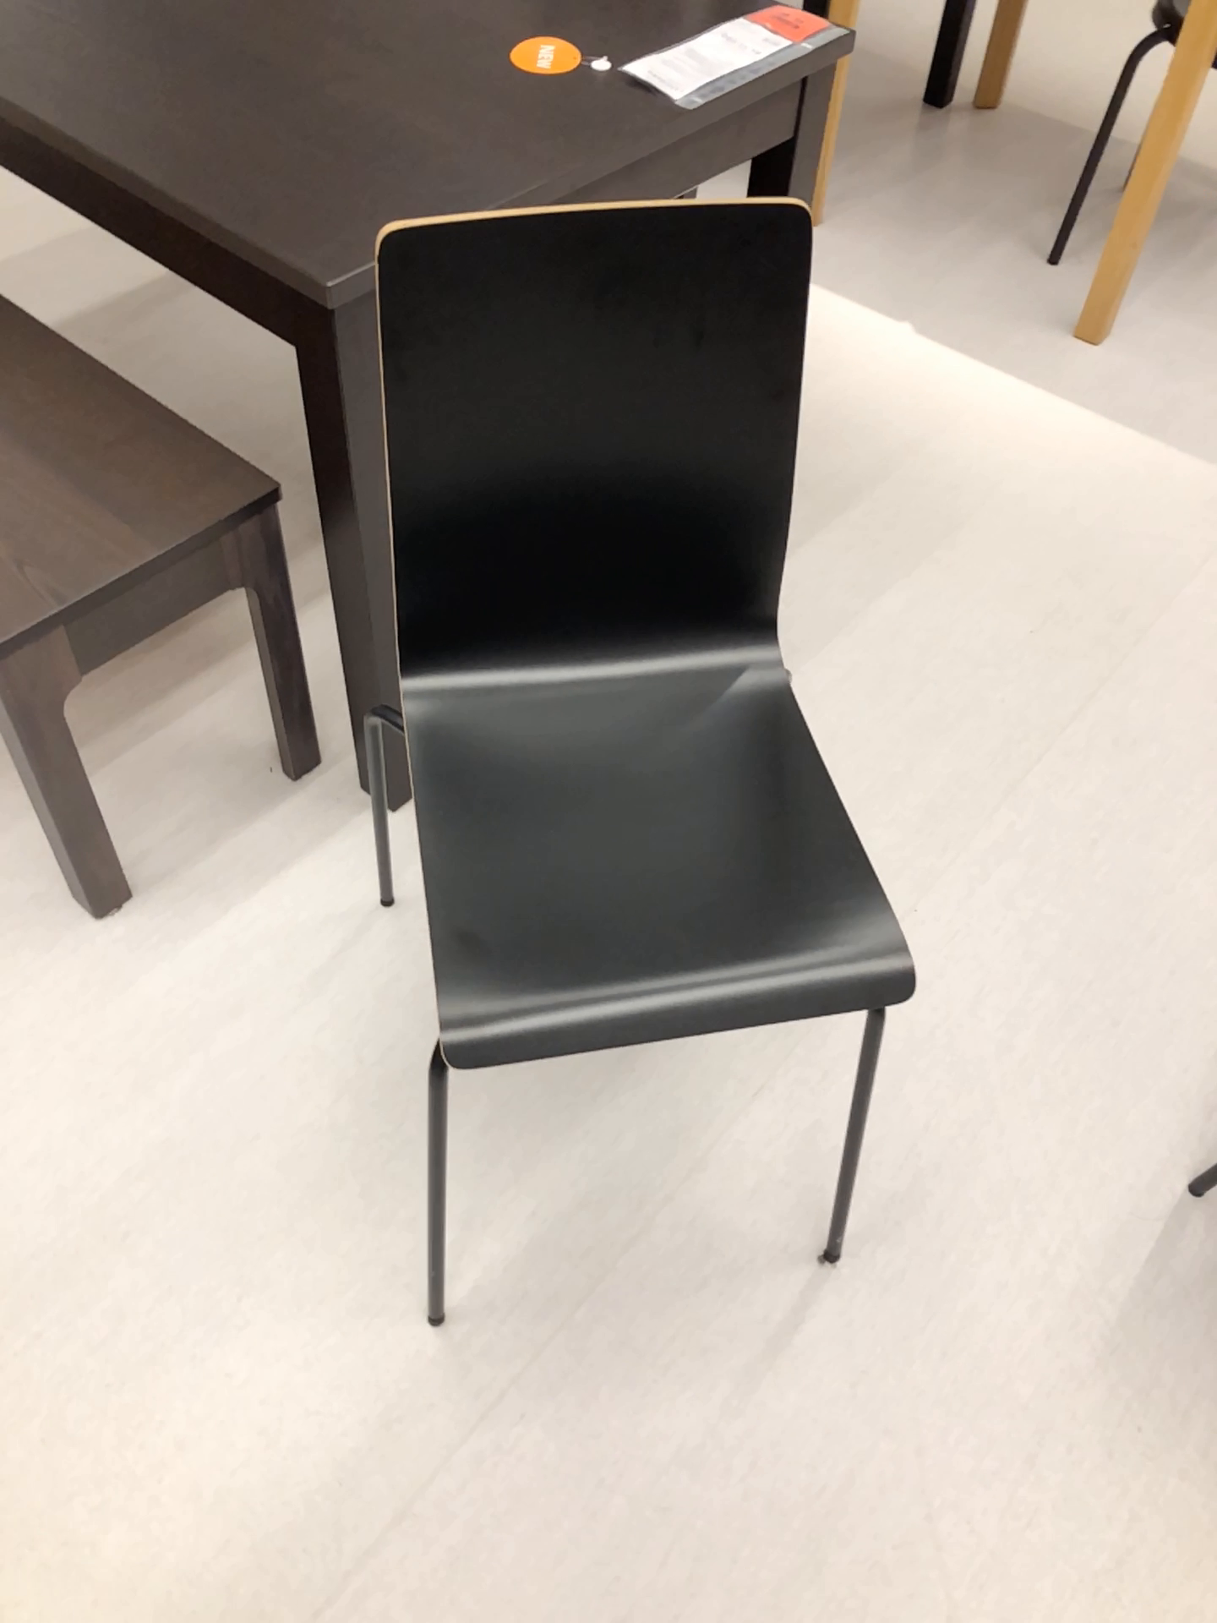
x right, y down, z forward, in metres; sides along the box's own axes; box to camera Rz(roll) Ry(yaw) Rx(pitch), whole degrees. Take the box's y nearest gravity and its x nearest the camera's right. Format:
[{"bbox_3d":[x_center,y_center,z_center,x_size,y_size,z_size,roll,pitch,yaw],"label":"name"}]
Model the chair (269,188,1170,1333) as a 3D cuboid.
[{"bbox_3d":[0.005,0.005,1.135,0.450,0.805,0.533,-6,51,-8],"label":"chair"}]
